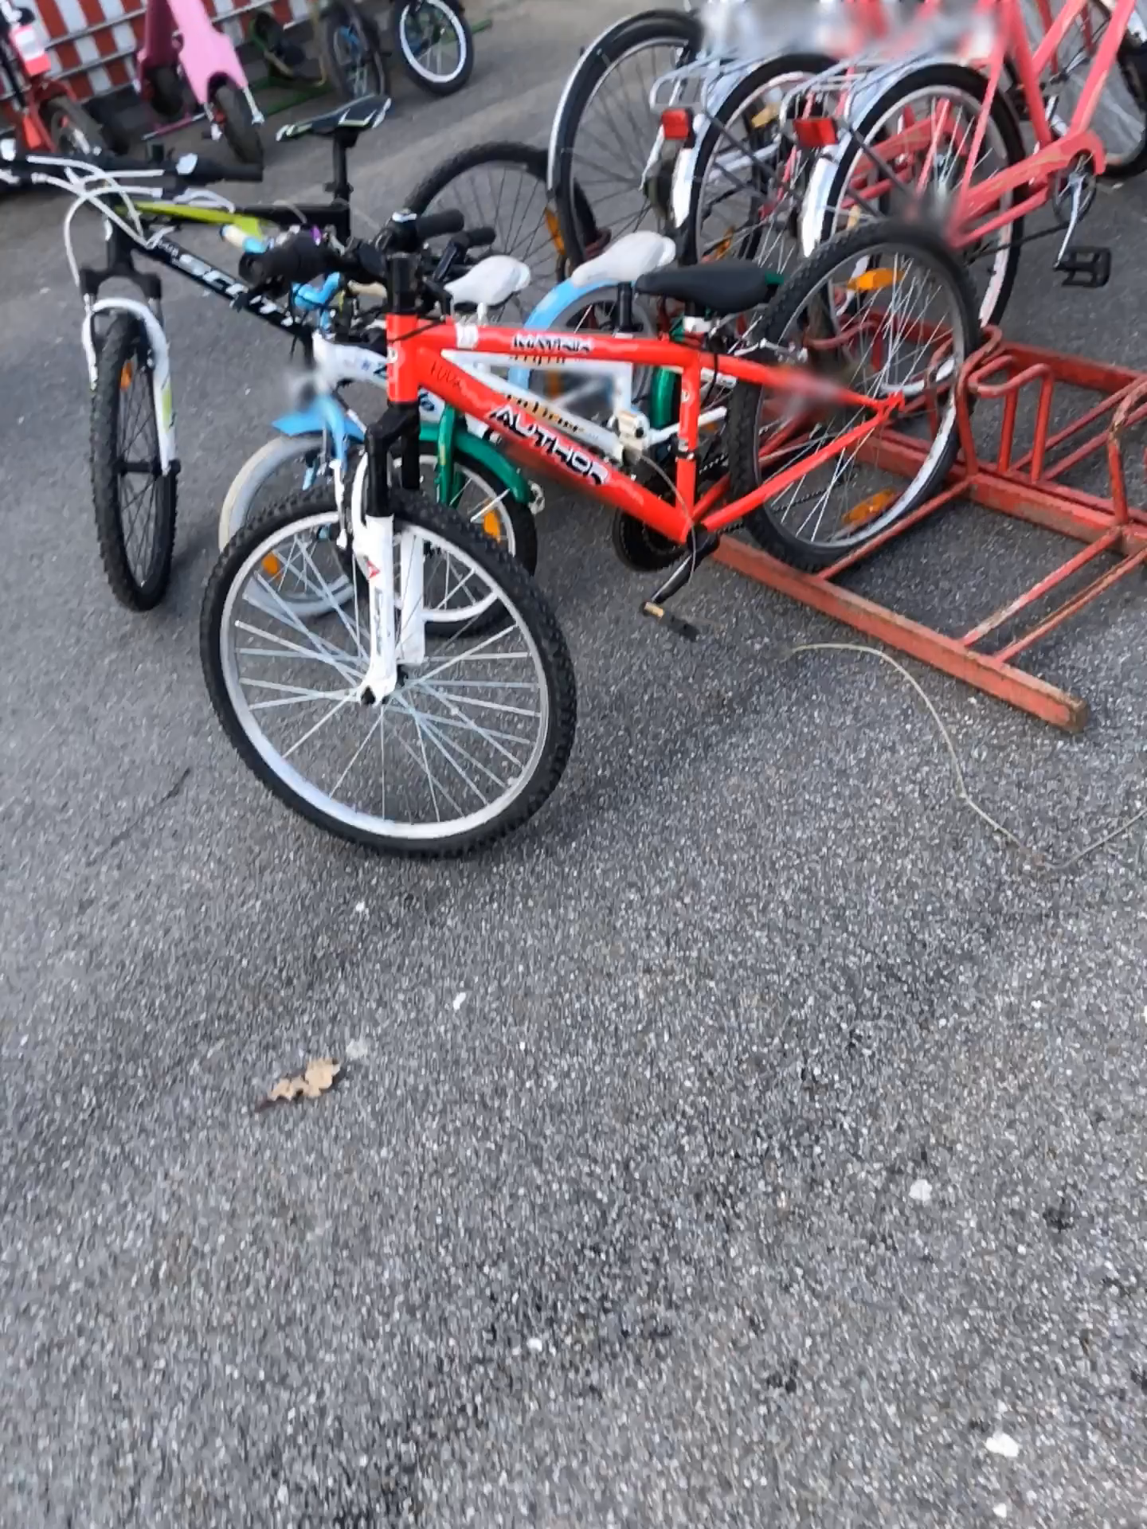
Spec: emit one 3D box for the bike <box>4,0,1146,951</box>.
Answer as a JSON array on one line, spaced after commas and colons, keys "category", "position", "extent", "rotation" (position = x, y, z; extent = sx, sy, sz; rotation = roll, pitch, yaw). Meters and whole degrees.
[{"category": "bike", "position": [0.085, -0.524, 1.922], "extent": [1.444, 0.908, 0.554], "rotation": [-28, 43, -12]}]
